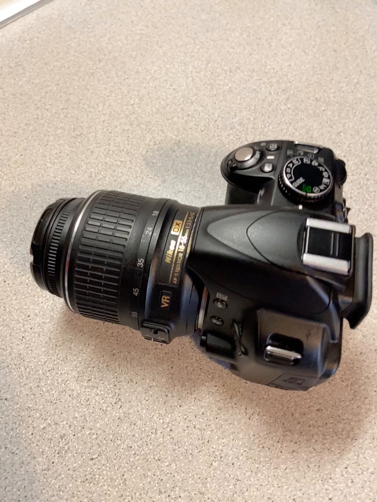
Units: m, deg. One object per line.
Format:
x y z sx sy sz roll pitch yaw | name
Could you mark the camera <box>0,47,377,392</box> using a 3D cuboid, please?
-0.007 -0.013 0.206 0.177 0.092 0.122 11 66 6 | camera
